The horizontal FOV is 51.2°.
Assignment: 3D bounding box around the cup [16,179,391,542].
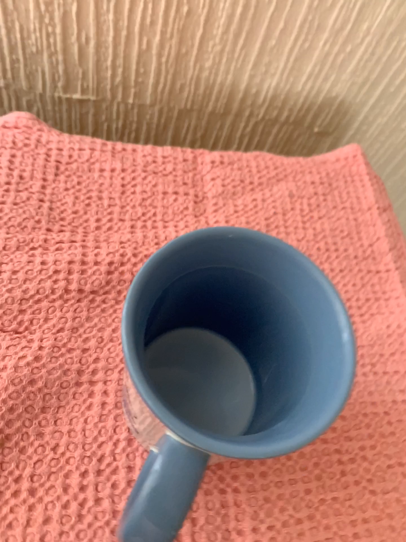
[{"bbox_3d":[0.002,0.049,0.181,0.090,0.099,0.111,27,57,1],"label":"cup"}]
